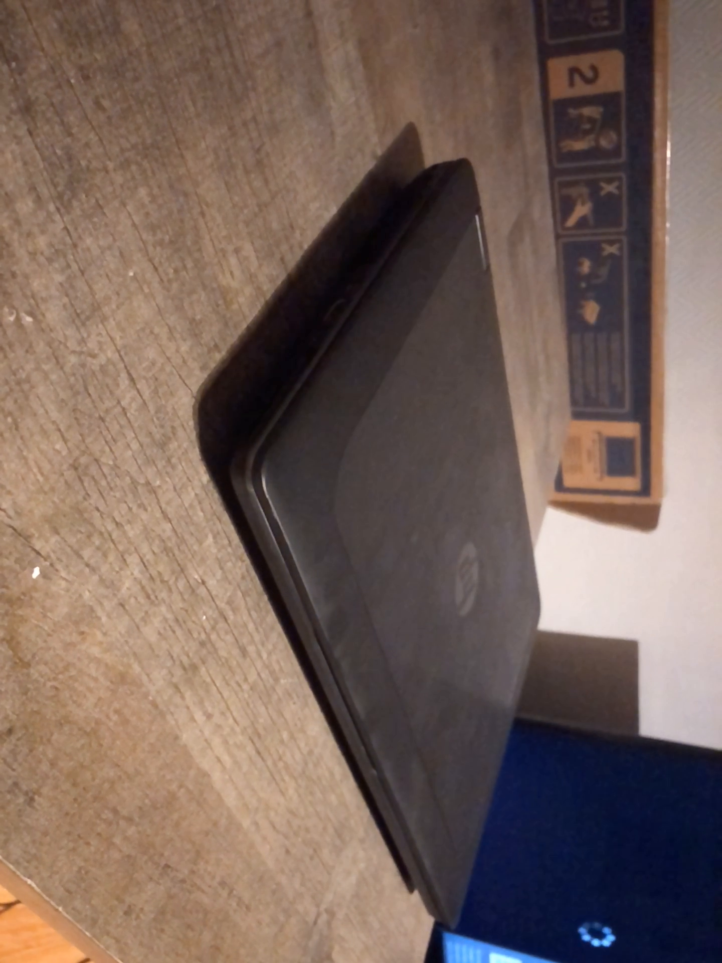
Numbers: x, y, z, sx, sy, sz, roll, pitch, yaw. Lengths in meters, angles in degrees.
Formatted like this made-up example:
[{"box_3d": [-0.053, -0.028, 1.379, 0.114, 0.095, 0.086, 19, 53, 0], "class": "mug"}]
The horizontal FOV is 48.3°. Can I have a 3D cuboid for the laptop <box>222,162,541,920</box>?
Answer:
[{"box_3d": [0.050, 0.050, 0.454, 0.241, 0.017, 0.366, -62, 146, -41], "class": "laptop"}]
